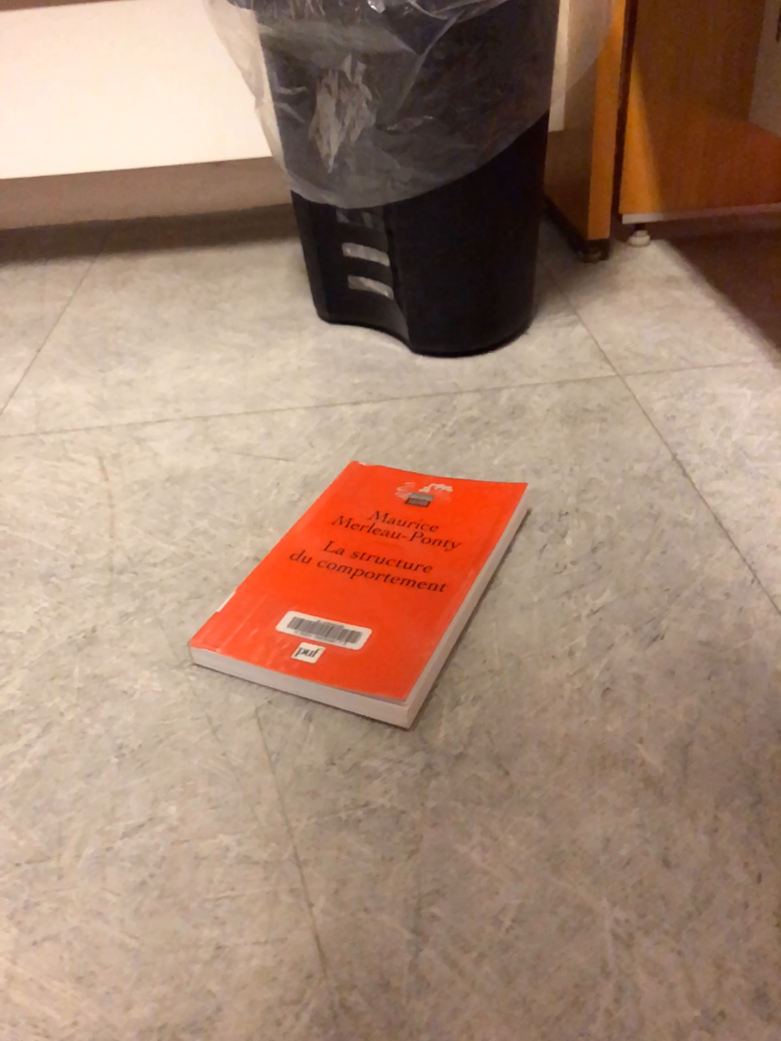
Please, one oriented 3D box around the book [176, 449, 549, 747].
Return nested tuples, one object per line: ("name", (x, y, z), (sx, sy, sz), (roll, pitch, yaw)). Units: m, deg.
("book", (-0.005, 0.028, 0.490), (0.135, 0.020, 0.201), (12, 39, 22))
